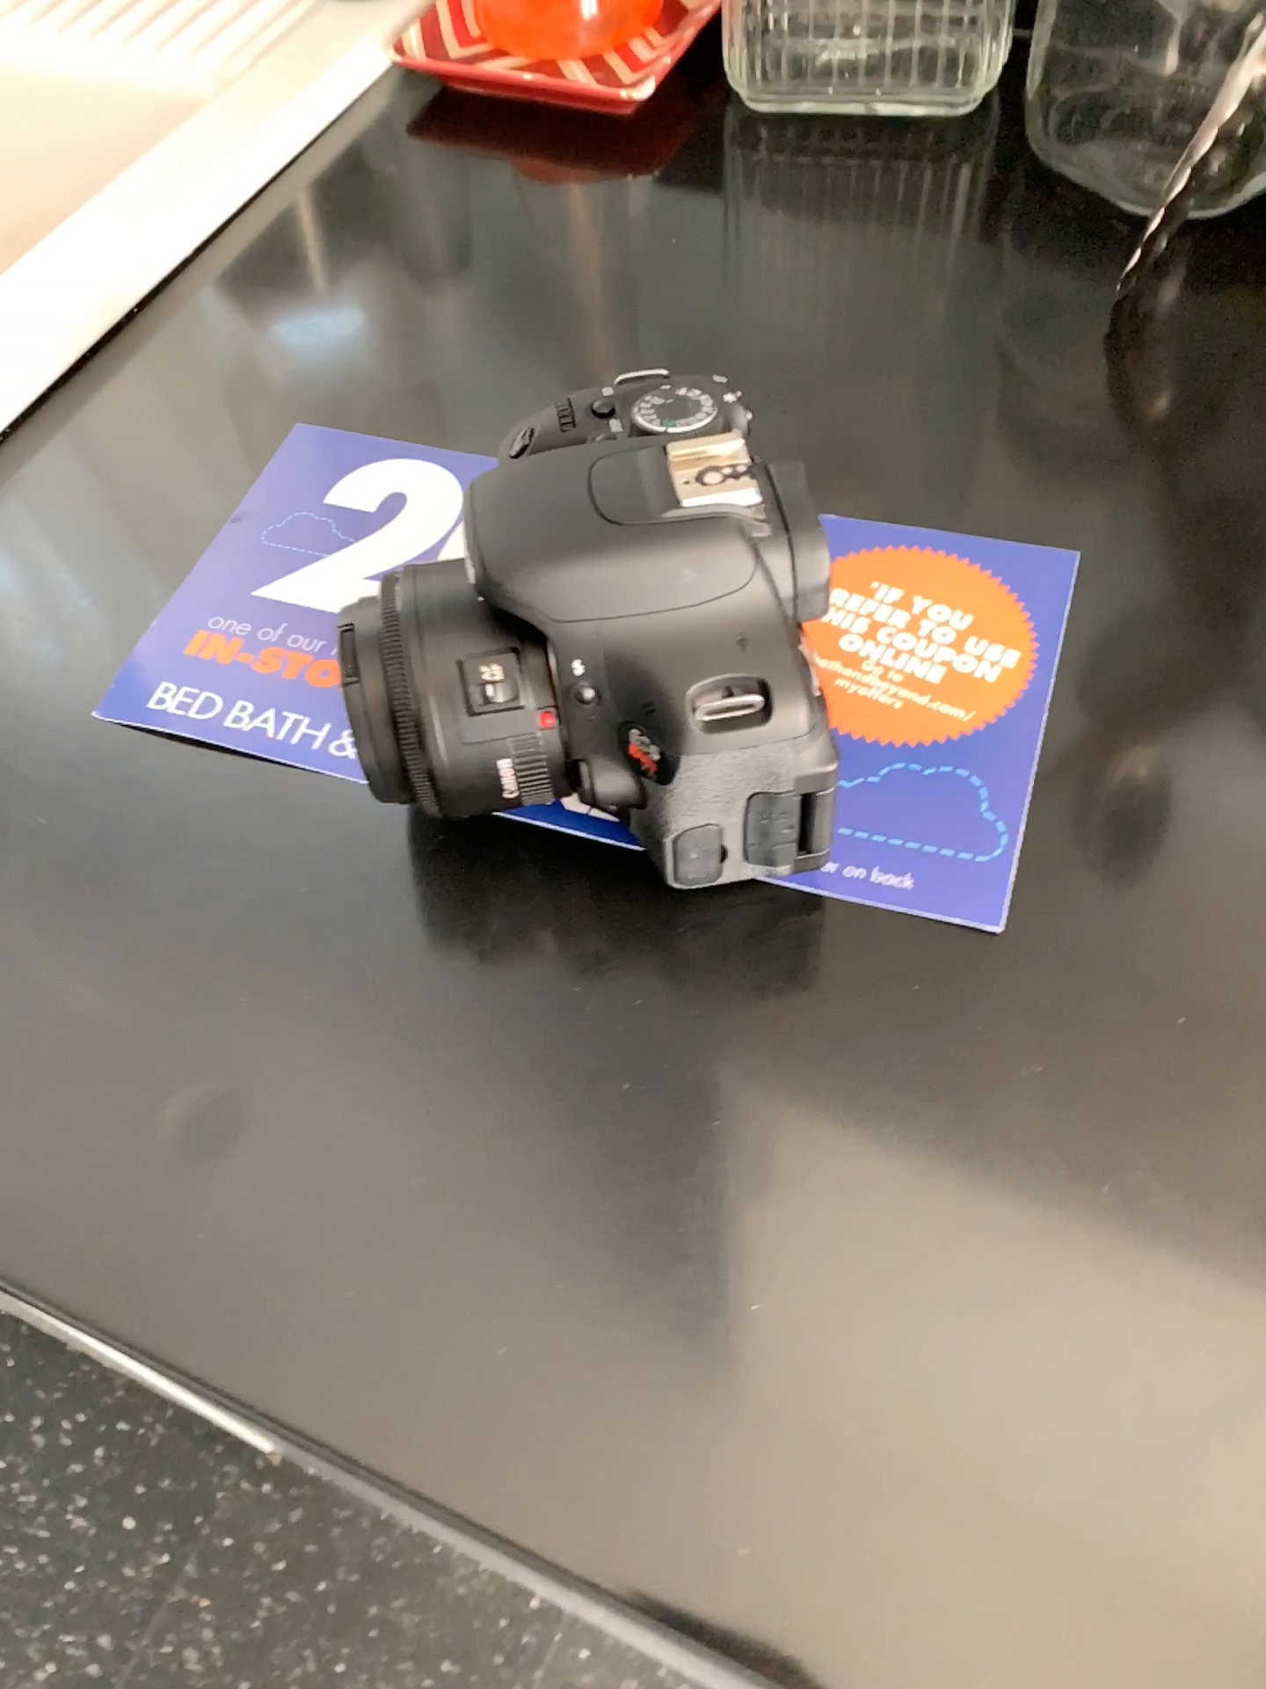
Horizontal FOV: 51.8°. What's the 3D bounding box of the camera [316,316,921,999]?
[{"bbox_3d":[-0.009,-0.051,0.345,0.124,0.085,0.140,-10,56,-2],"label":"camera"}]
